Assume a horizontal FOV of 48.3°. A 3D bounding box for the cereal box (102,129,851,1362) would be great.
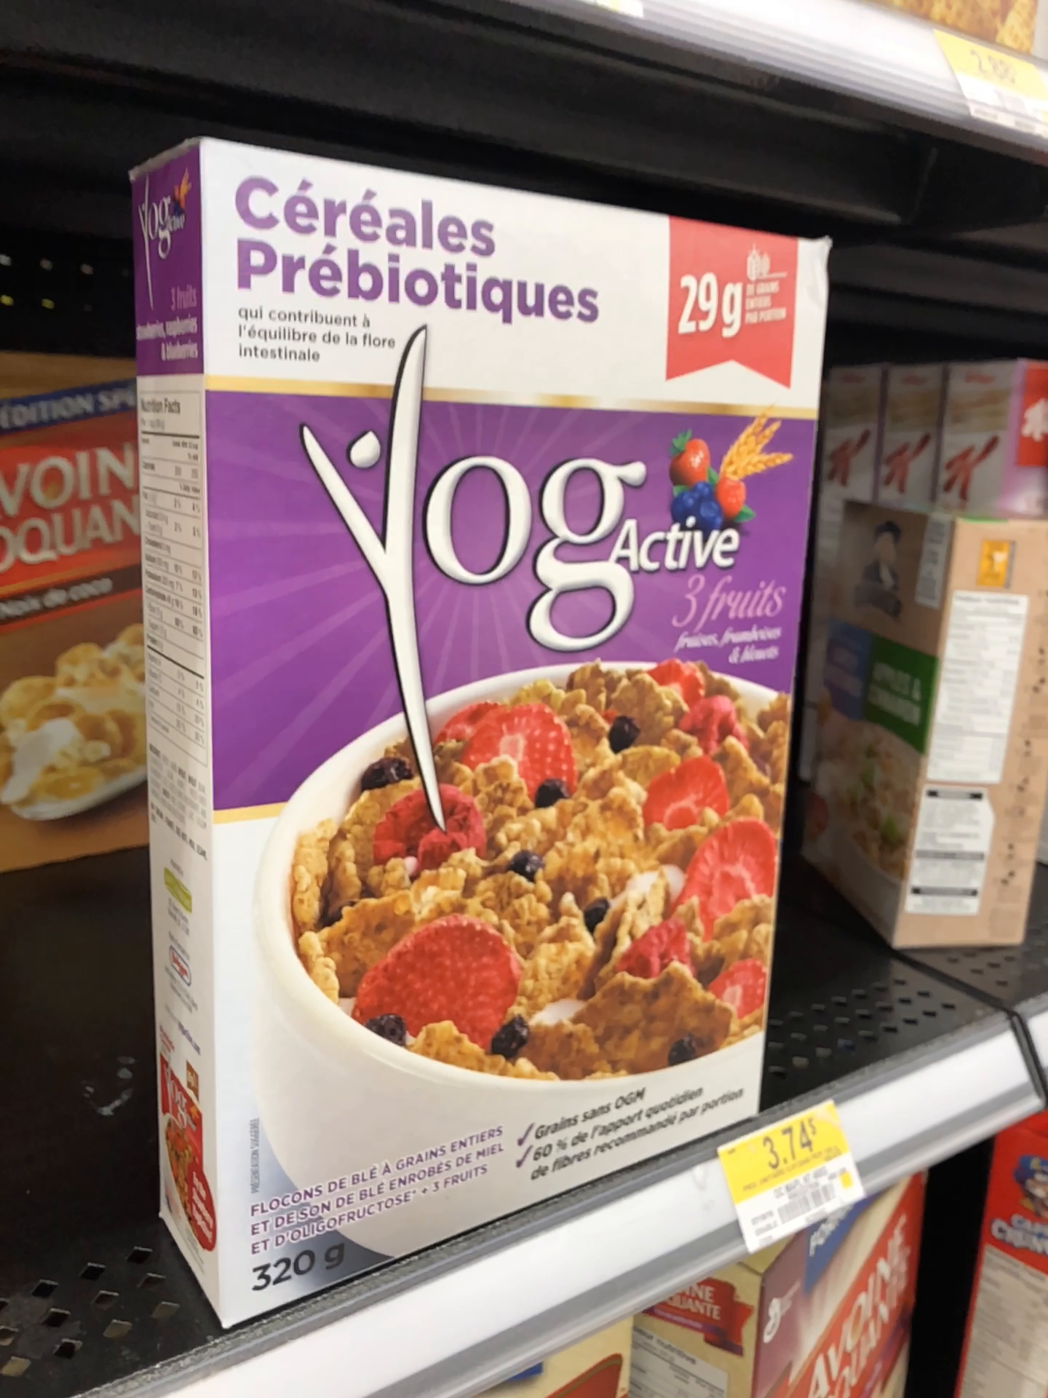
[{"bbox_3d":[-0.009,0.011,0.332,0.190,0.279,0.060,-6,15,-33],"label":"cereal box"}]
